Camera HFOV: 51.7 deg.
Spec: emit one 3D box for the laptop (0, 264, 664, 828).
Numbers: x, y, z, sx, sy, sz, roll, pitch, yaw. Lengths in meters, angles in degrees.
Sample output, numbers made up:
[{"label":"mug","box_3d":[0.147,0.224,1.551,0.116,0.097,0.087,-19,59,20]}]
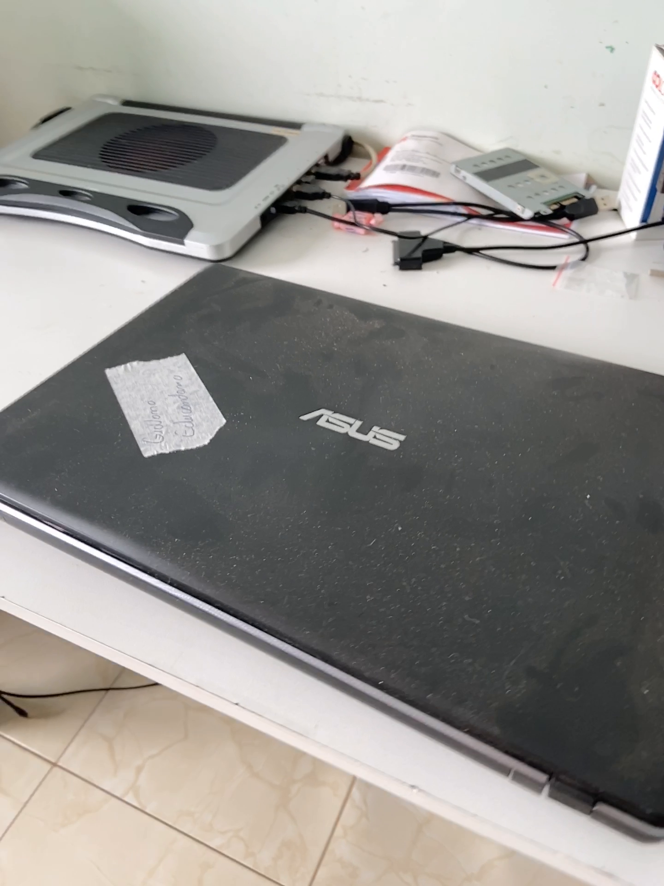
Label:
[{"label":"laptop","box_3d":[0.011,-0.004,0.386,0.385,0.007,0.252,20,47,23]}]
